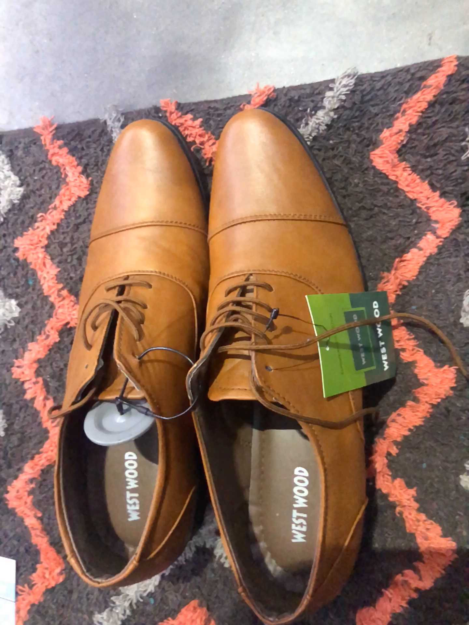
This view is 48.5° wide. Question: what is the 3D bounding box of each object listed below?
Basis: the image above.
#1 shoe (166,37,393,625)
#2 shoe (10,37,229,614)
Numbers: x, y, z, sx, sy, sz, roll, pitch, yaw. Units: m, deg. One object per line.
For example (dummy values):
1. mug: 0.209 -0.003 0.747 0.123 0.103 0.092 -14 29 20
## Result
1. shoe: 0.029 0.013 0.310 0.110 0.080 0.300 -3 85 17
2. shoe: -0.070 0.005 0.329 0.110 0.070 0.310 -3 85 17
